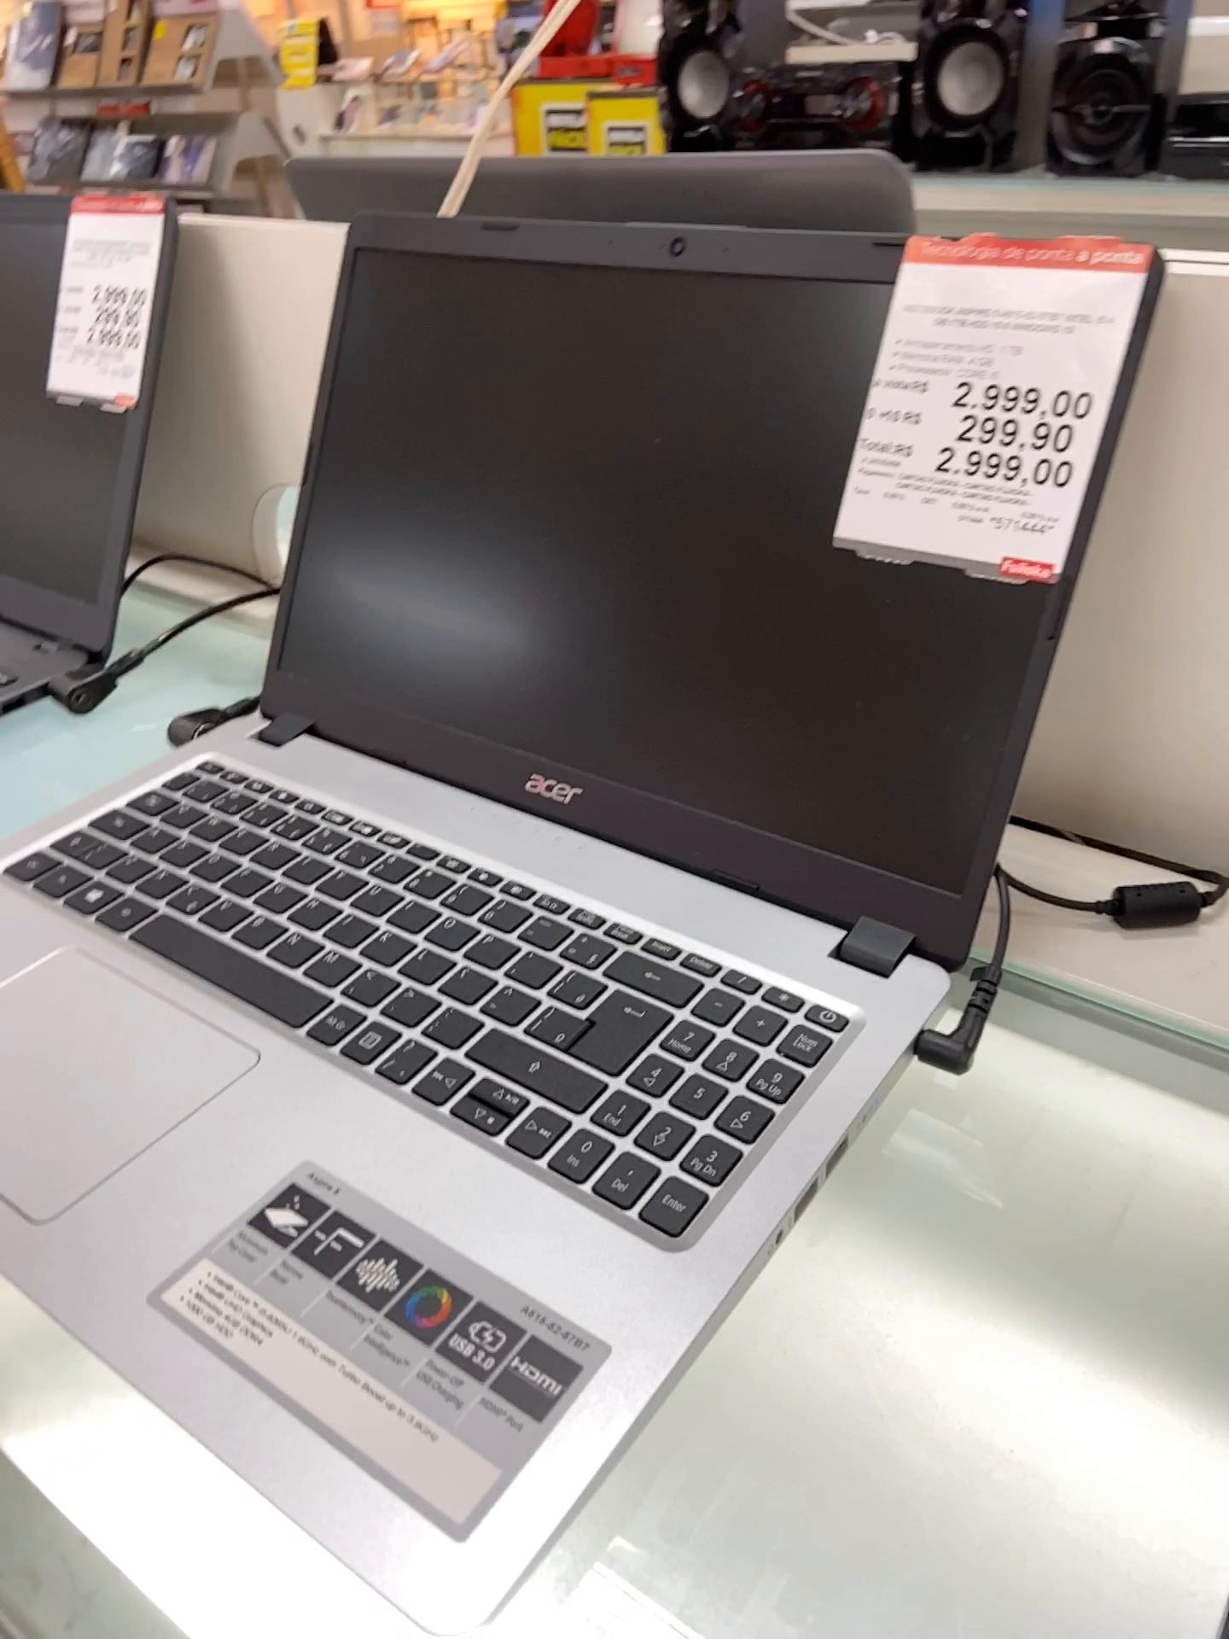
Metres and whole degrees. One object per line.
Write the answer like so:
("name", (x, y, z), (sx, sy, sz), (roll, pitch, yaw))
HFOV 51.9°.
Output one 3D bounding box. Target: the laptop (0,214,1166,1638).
("laptop", (-0.078, -0.057, 0.424), (0.367, 0.205, 0.373), (19, 39, 32))
